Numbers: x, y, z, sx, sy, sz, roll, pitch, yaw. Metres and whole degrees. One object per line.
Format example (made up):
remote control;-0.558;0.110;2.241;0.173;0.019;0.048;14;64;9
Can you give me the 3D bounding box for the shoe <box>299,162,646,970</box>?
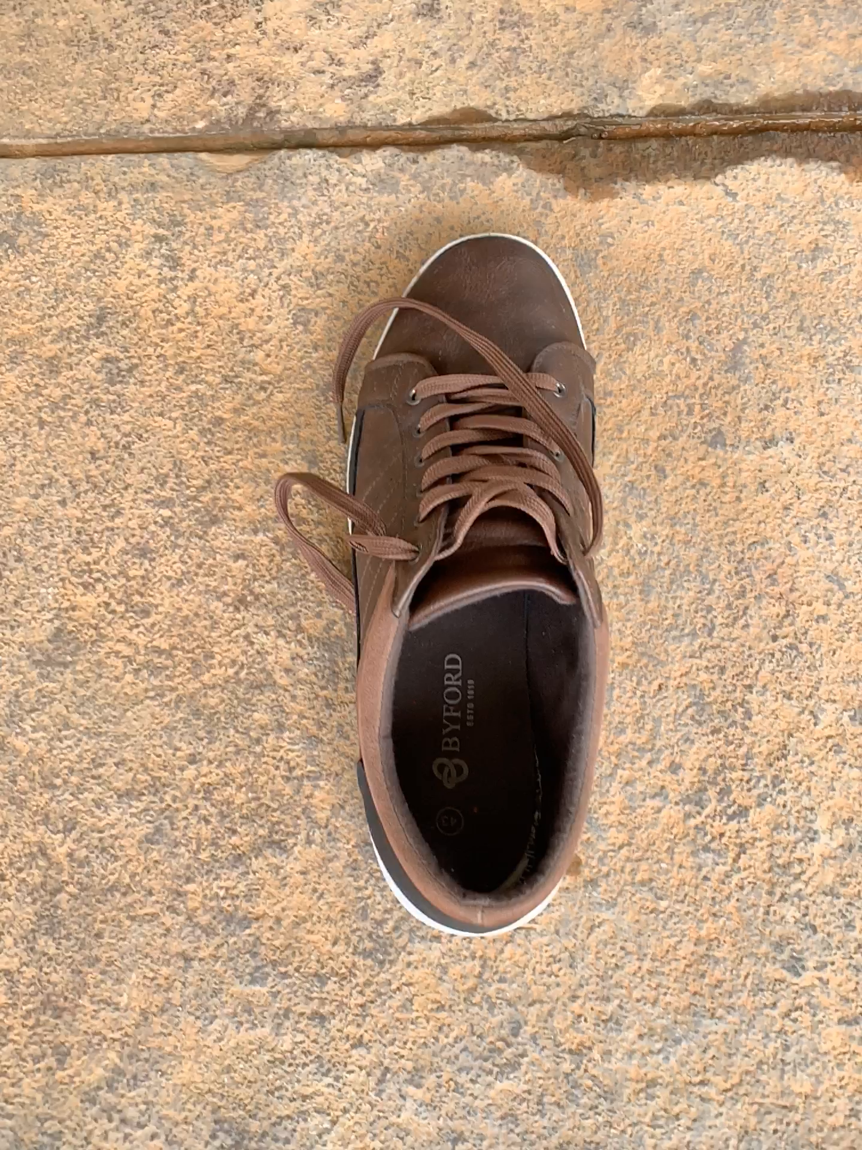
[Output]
shoe;0.016;-0.010;0.358;0.110;0.080;0.300;-1;75;4
